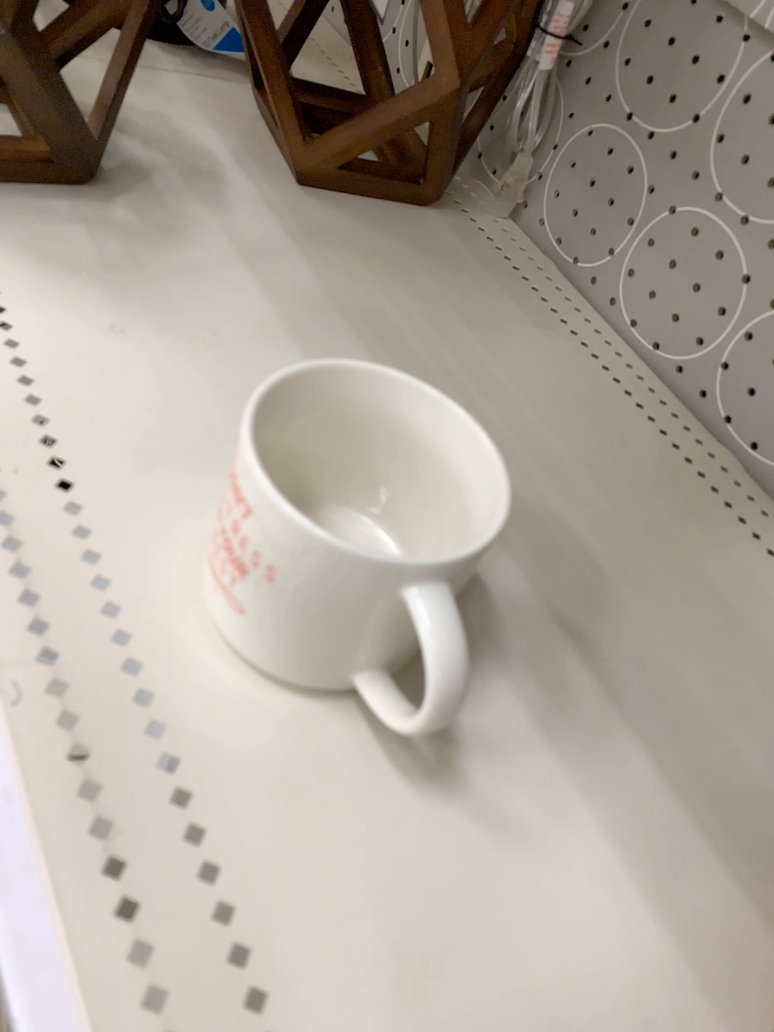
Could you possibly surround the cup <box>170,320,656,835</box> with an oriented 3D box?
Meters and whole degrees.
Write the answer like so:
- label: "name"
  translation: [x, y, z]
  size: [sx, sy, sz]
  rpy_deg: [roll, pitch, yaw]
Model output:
- label: "cup"
  translation: [-0.004, 0.013, 0.291]
  size: [0.100, 0.090, 0.150]
  rpy_deg: [-10, 55, -31]
